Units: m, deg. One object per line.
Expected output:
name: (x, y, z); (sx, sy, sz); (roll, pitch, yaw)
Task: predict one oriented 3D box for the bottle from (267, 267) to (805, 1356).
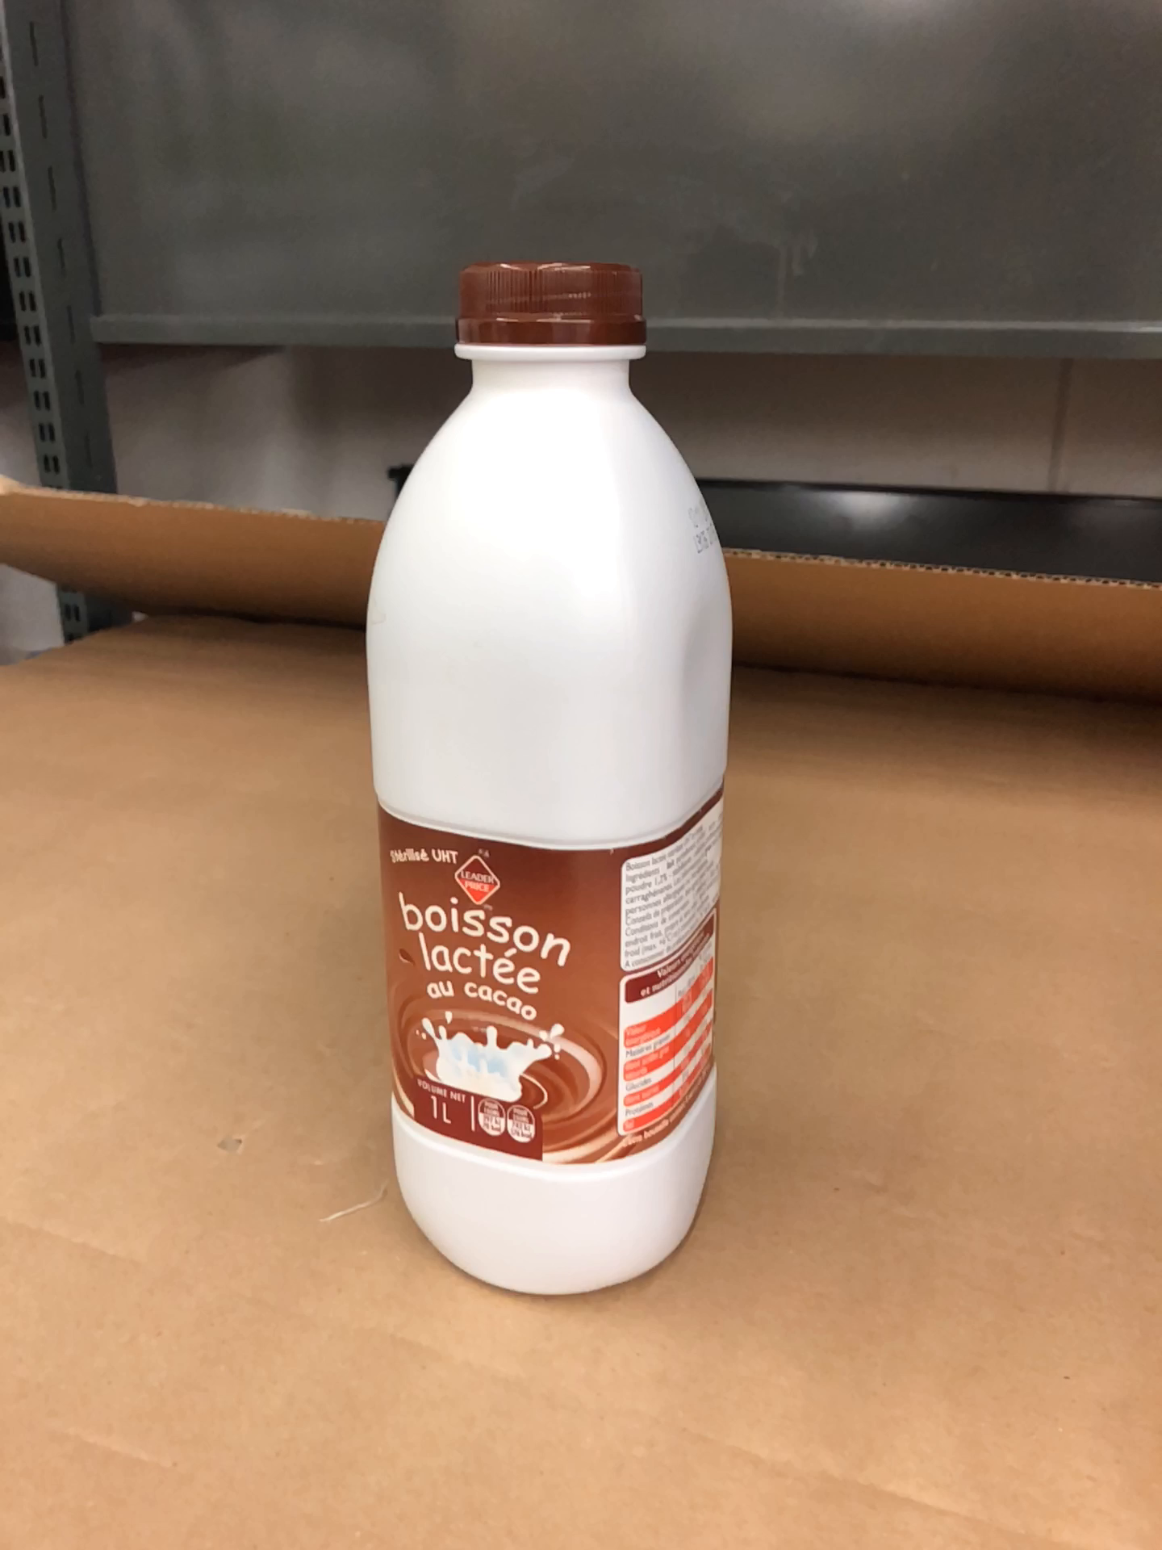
bottle: (-0.004, 0.006, 0.312); (0.090, 0.239, 0.080); (7, 21, 19)
